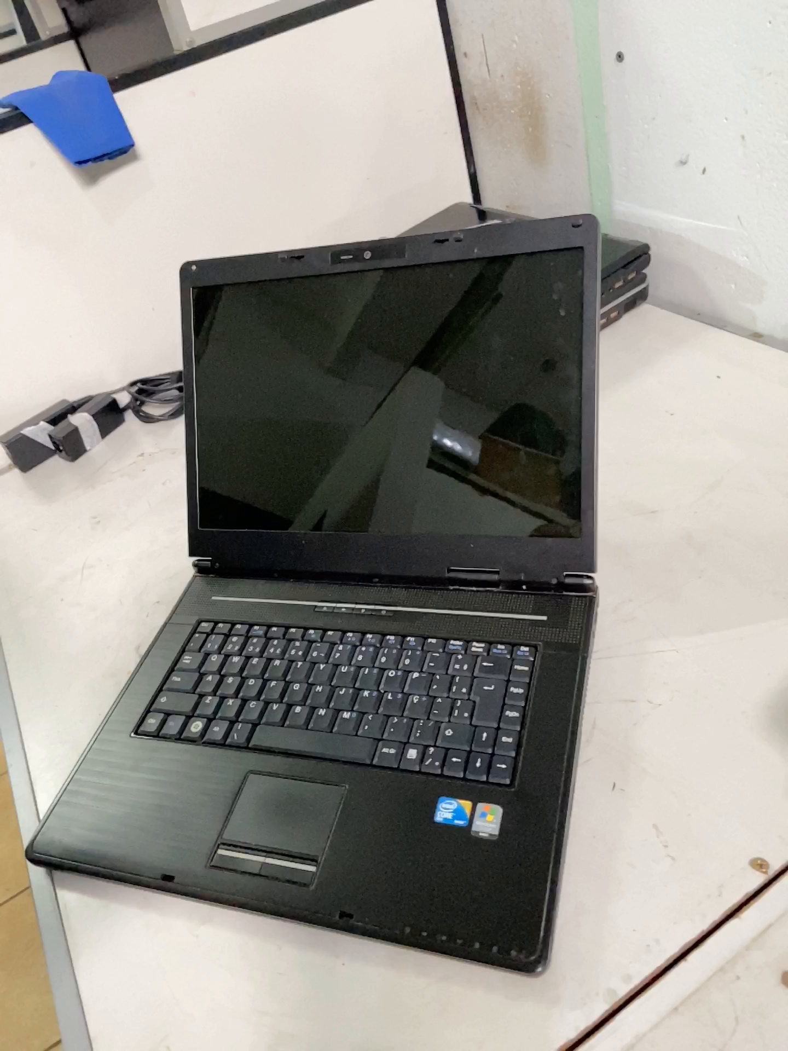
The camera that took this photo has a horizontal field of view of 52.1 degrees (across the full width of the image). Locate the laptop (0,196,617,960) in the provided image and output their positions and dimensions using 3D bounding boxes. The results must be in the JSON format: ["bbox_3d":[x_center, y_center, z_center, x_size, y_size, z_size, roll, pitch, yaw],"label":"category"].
[{"bbox_3d":[-0.052,-0.006,0.571,0.351,0.224,0.431,1,44,22],"label":"laptop"}]
